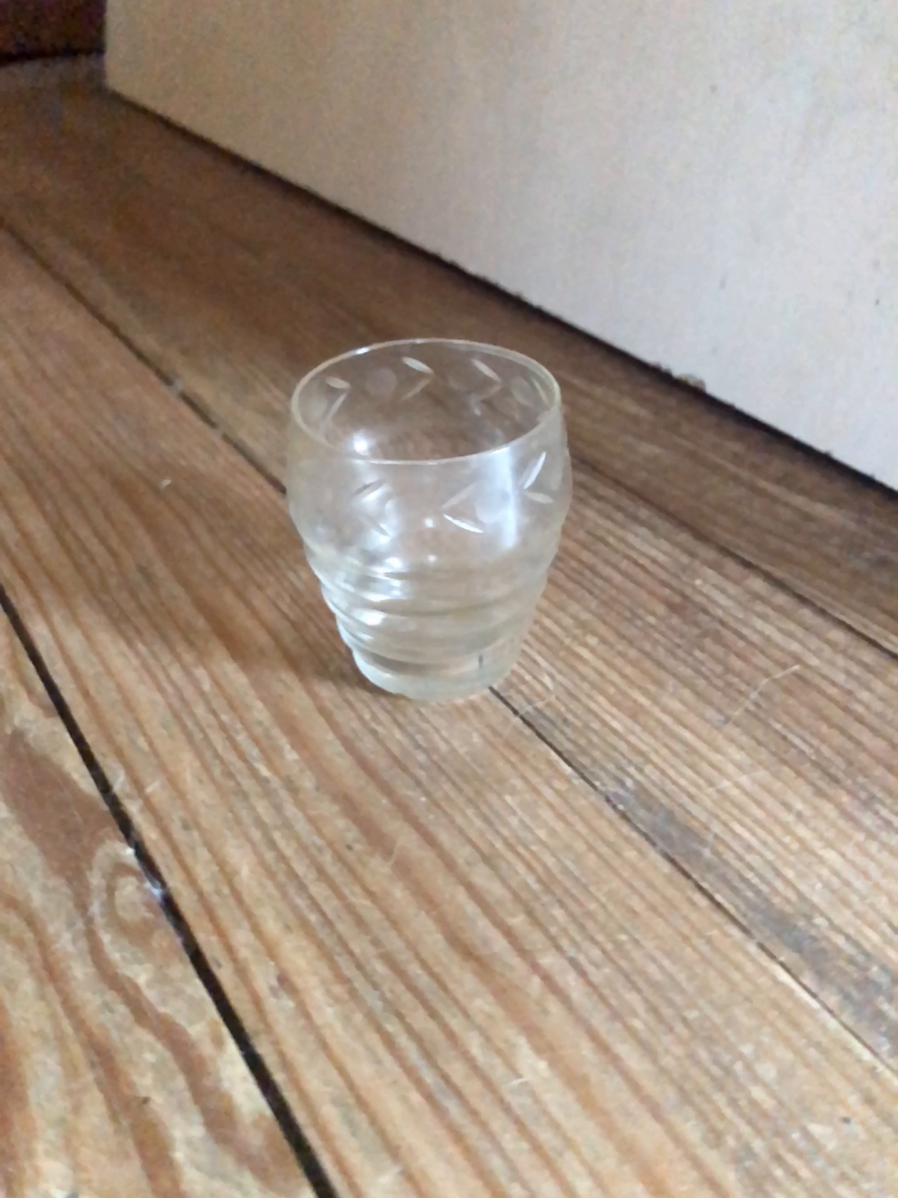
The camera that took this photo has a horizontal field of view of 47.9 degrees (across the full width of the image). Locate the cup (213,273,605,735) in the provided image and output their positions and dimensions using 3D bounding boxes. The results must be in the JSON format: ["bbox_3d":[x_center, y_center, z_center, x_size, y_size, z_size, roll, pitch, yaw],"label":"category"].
[{"bbox_3d":[-0.004,-0.019,0.185,0.050,0.060,0.050,-1,39,1],"label":"cup"}]
